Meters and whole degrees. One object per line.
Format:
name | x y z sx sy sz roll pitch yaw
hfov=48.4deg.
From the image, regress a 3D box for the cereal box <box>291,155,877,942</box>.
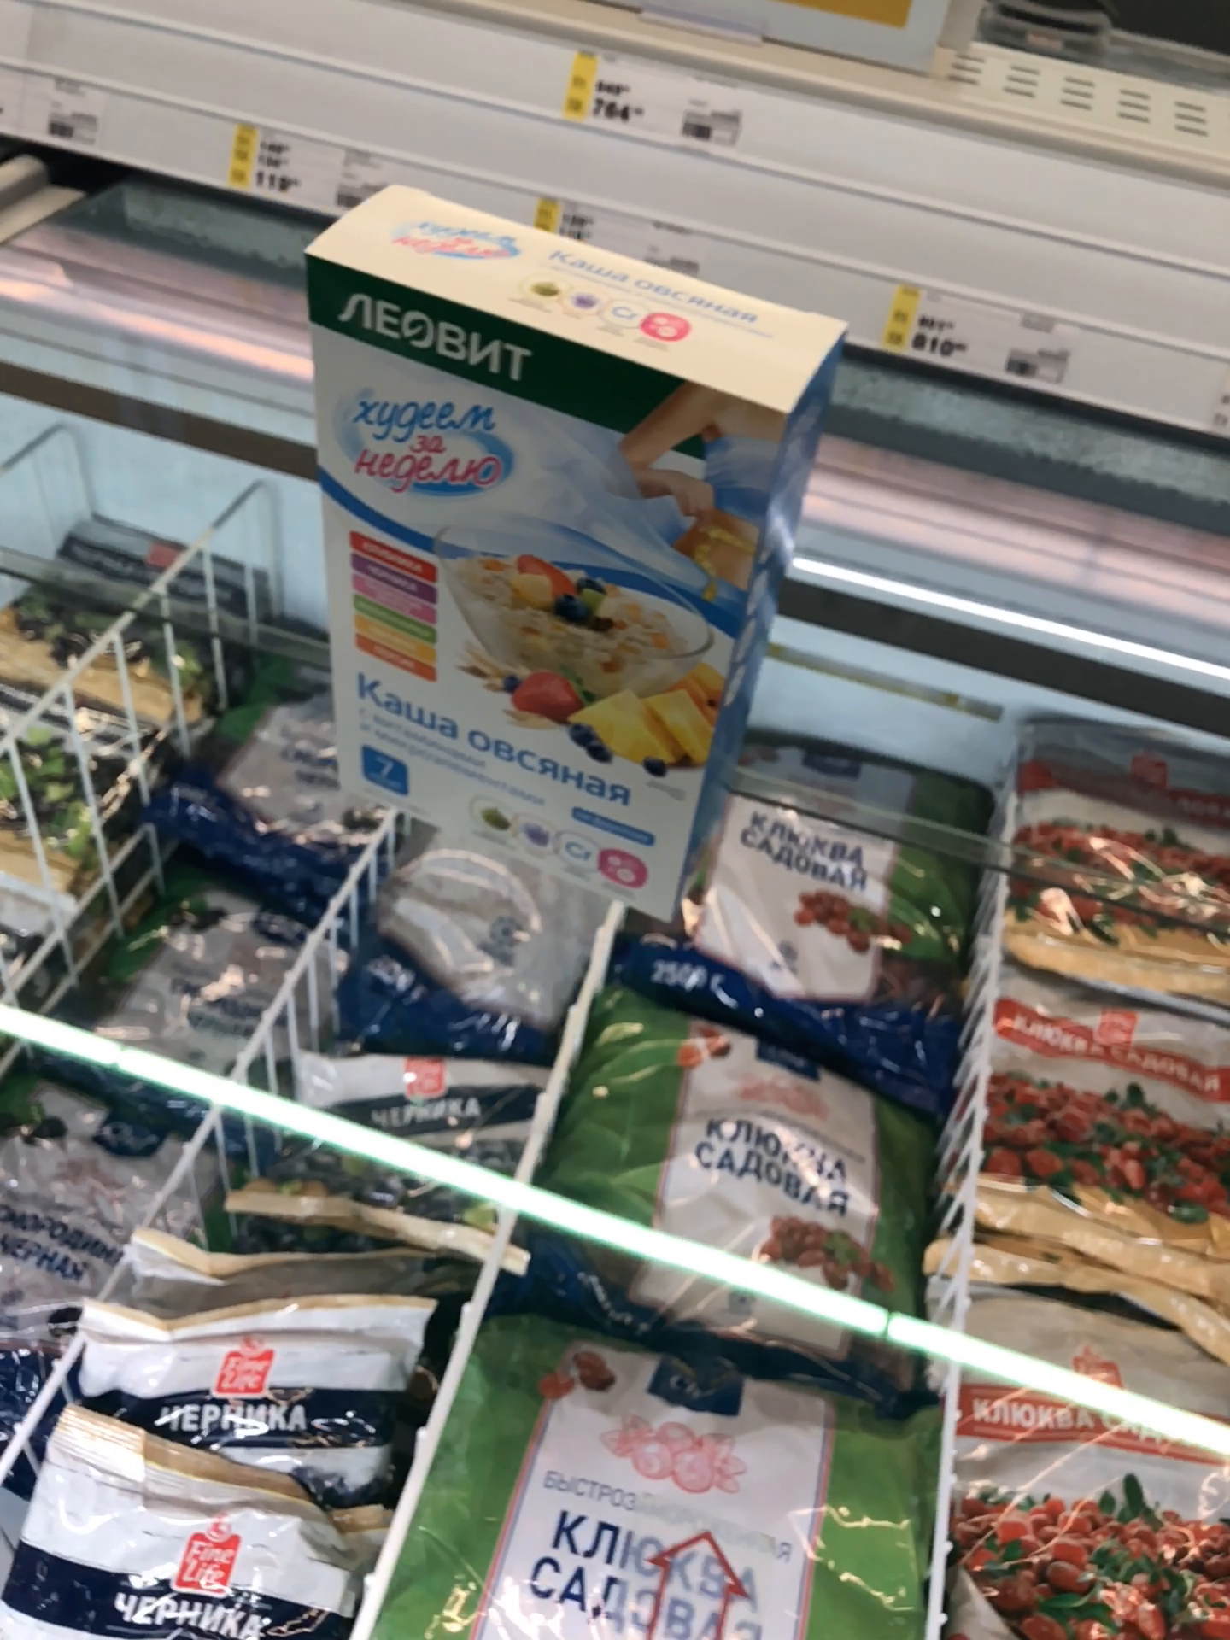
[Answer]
cereal box | -0.018 -0.077 0.460 0.150 0.228 0.060 22 50 12
